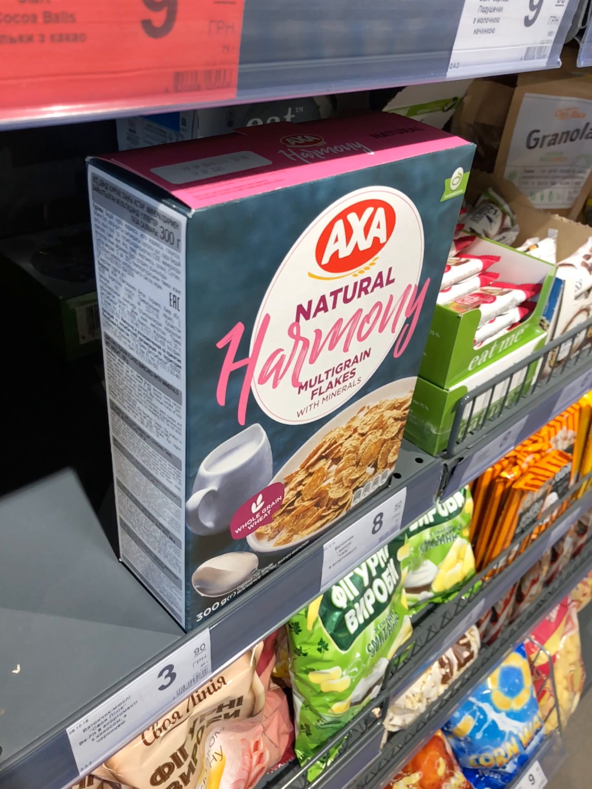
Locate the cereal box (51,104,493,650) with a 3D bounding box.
[{"bbox_3d":[-0.008,-0.013,0.330,0.070,0.218,0.181,34,44,32],"label":"cereal box"}]
